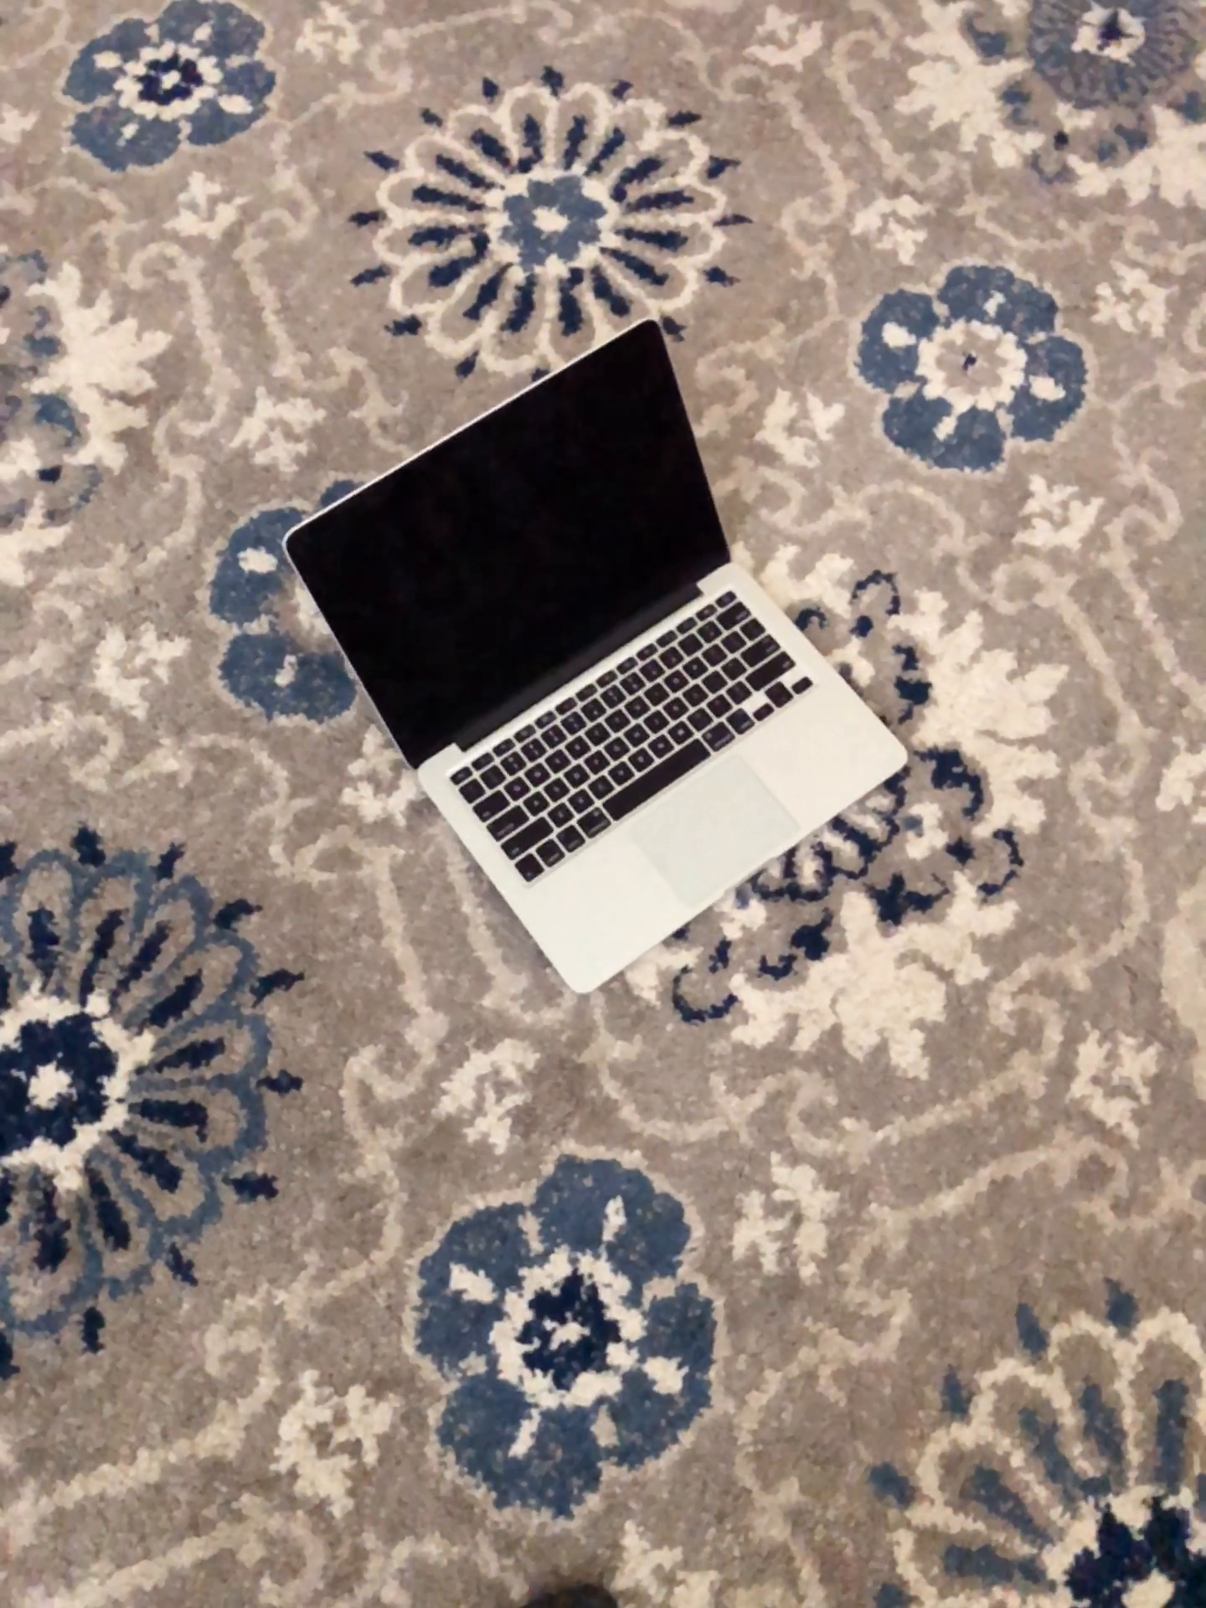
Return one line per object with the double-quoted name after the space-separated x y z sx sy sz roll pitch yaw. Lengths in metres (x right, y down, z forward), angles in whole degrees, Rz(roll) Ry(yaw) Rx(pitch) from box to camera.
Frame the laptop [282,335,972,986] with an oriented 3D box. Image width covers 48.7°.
0.011 -0.102 0.928 0.300 0.171 0.322 -35 71 -13 "laptop"
